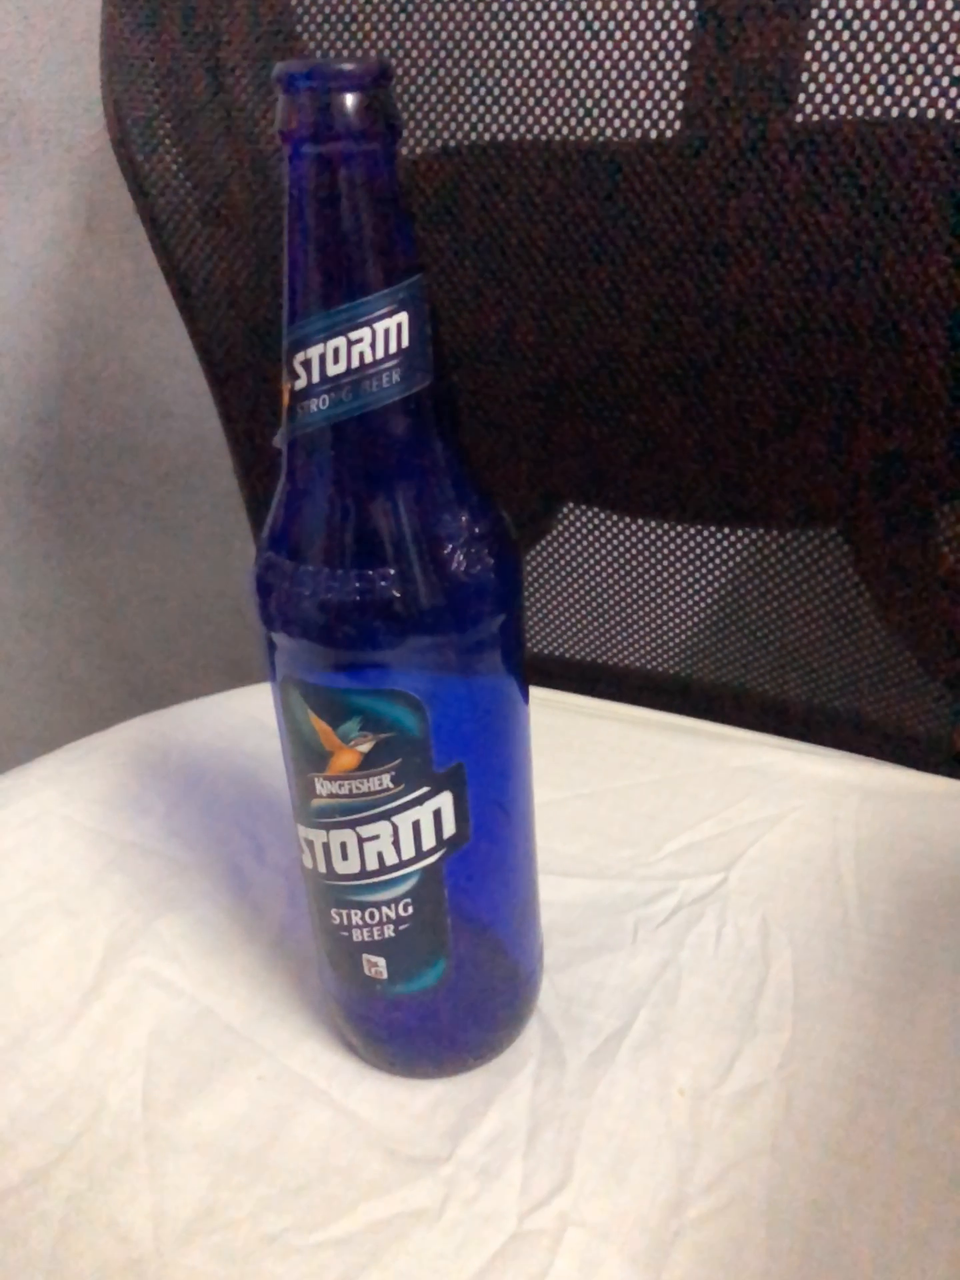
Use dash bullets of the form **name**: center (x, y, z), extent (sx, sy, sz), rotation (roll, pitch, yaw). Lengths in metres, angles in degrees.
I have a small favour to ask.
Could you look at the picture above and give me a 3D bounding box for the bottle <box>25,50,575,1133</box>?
- **bottle**: center (-0.026, 0.001, 0.270), extent (0.080, 0.259, 0.070), rotation (10, 33, 21)
